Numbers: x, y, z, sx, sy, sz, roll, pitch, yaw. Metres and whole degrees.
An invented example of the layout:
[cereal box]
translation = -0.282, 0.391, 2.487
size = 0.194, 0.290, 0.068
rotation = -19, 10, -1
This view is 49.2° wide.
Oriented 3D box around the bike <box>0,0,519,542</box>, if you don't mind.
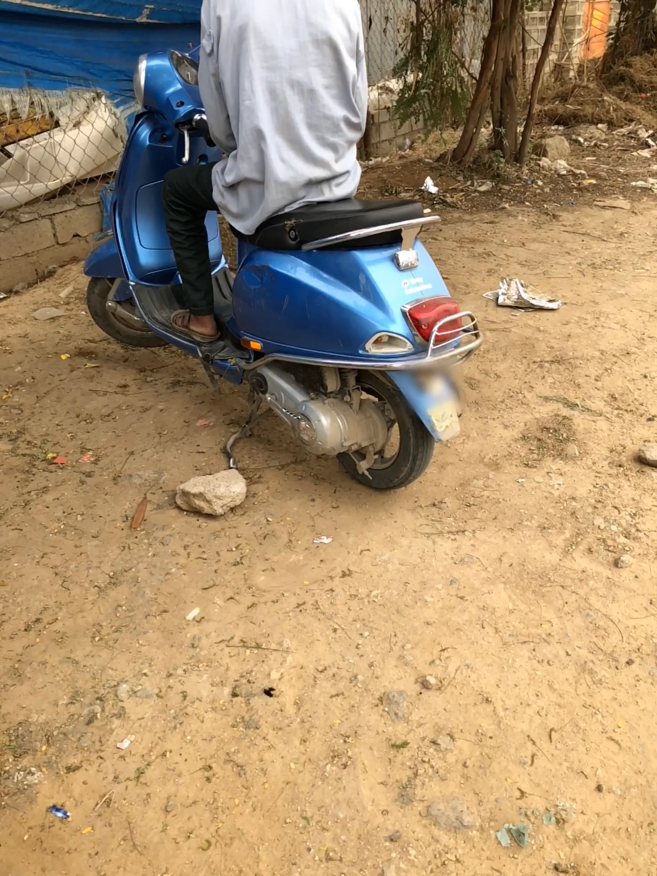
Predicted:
[bike]
translation = -0.335, -0.679, 2.311
size = 1.566, 1.253, 0.635
rotation = 24, 39, 32
